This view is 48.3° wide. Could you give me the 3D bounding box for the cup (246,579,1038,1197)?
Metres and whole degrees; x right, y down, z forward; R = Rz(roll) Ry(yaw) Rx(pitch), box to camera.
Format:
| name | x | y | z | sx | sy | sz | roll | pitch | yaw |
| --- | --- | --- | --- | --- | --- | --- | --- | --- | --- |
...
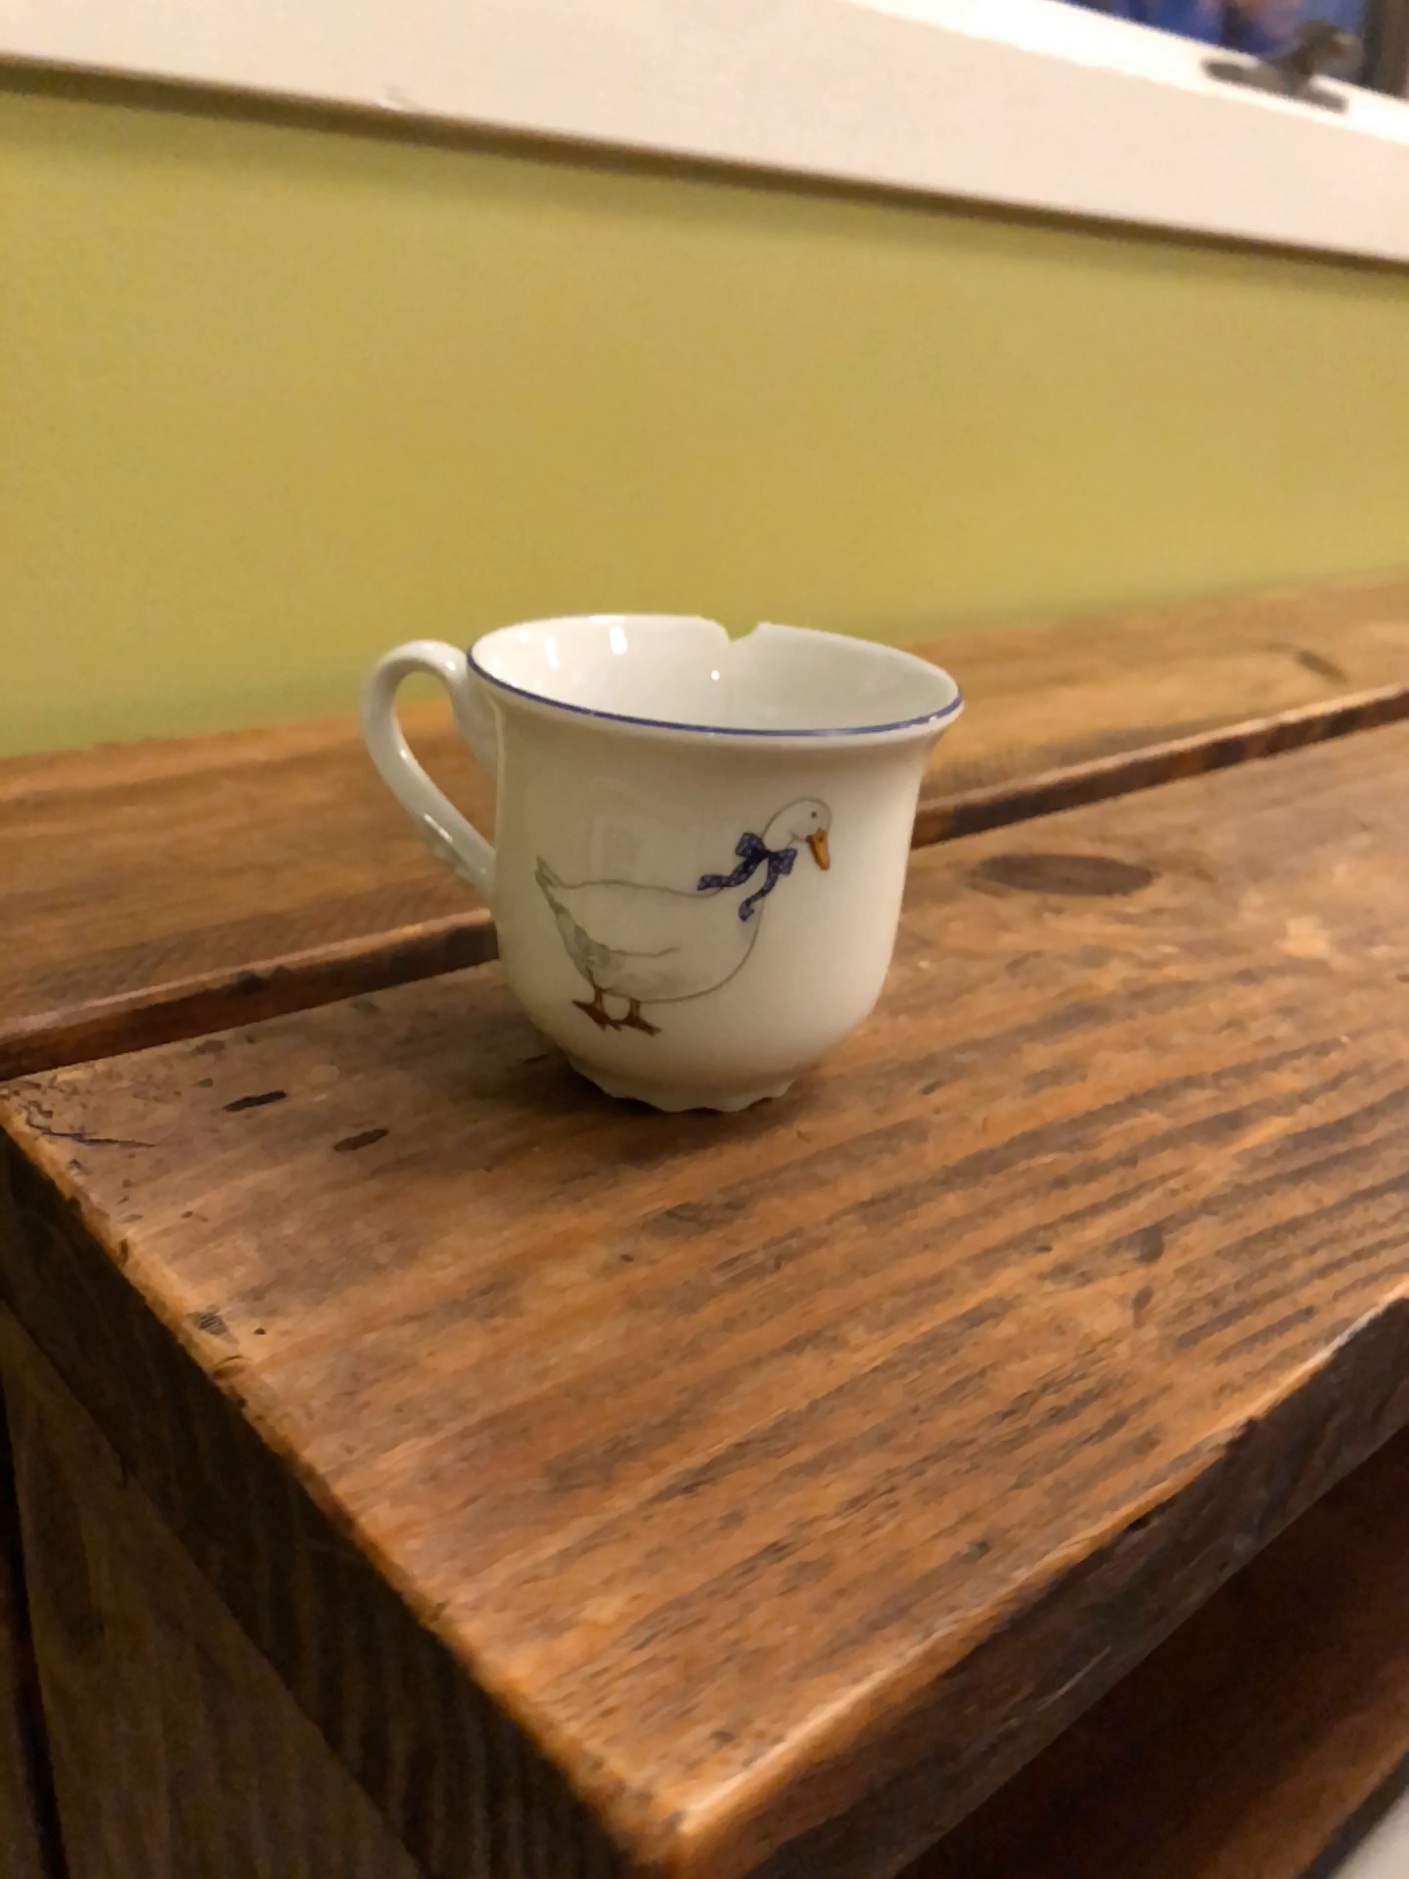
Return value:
| name | x | y | z | sx | sy | sz | roll | pitch | yaw |
| --- | --- | --- | --- | --- | --- | --- | --- | --- | --- |
| cup | -0.009 | -0.019 | 0.286 | 0.107 | 0.066 | 0.091 | 14 | 25 | 24 |
